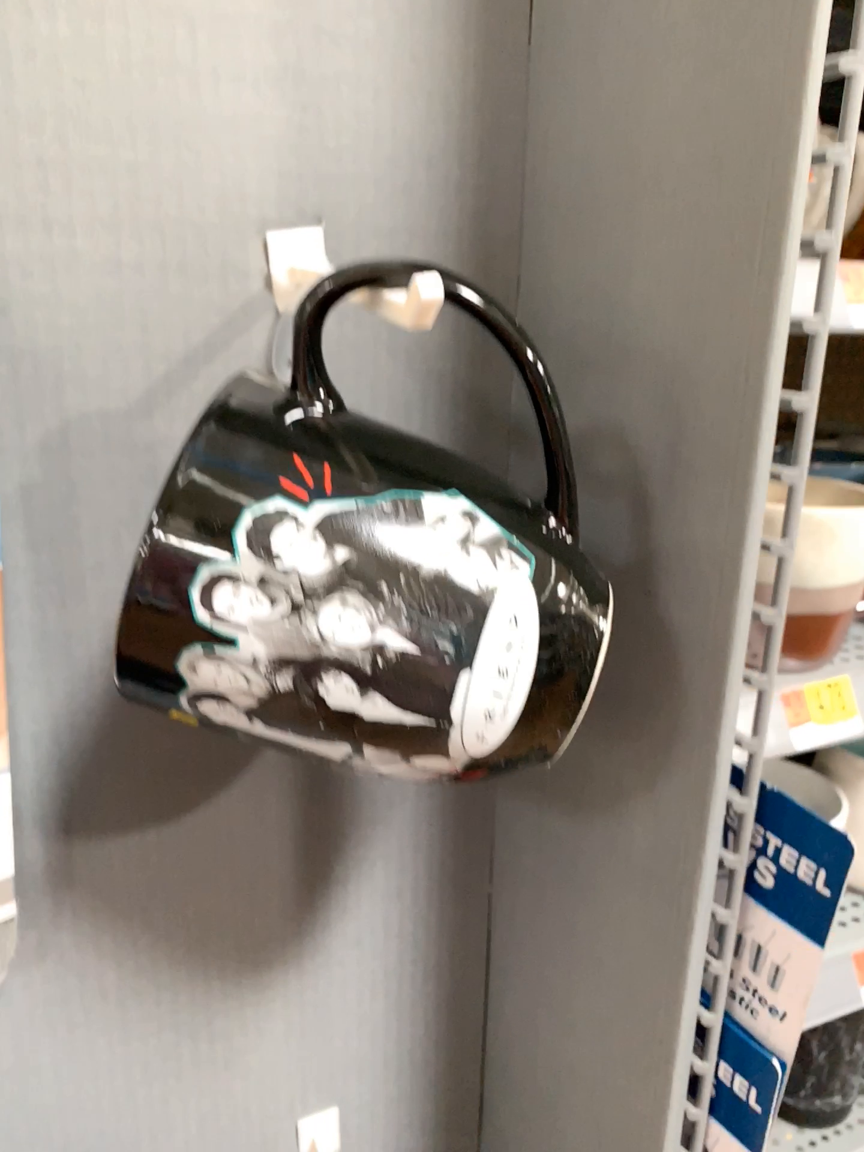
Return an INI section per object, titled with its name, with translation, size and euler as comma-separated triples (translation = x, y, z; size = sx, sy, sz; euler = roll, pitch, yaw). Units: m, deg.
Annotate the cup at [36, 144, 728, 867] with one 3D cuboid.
[cup]
translation = -0.015, -0.020, 0.236
size = 0.115, 0.128, 0.087
euler = 20, 17, -3
